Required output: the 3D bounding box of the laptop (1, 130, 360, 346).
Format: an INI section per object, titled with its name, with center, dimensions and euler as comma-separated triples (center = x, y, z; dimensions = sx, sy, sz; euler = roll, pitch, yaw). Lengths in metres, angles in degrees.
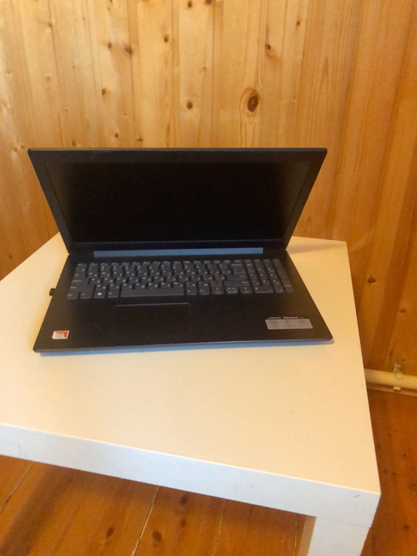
[laptop]
center = -0.037, -0.073, 0.634
dimensions = 0.372, 0.206, 0.251
euler = -2, 29, -4
